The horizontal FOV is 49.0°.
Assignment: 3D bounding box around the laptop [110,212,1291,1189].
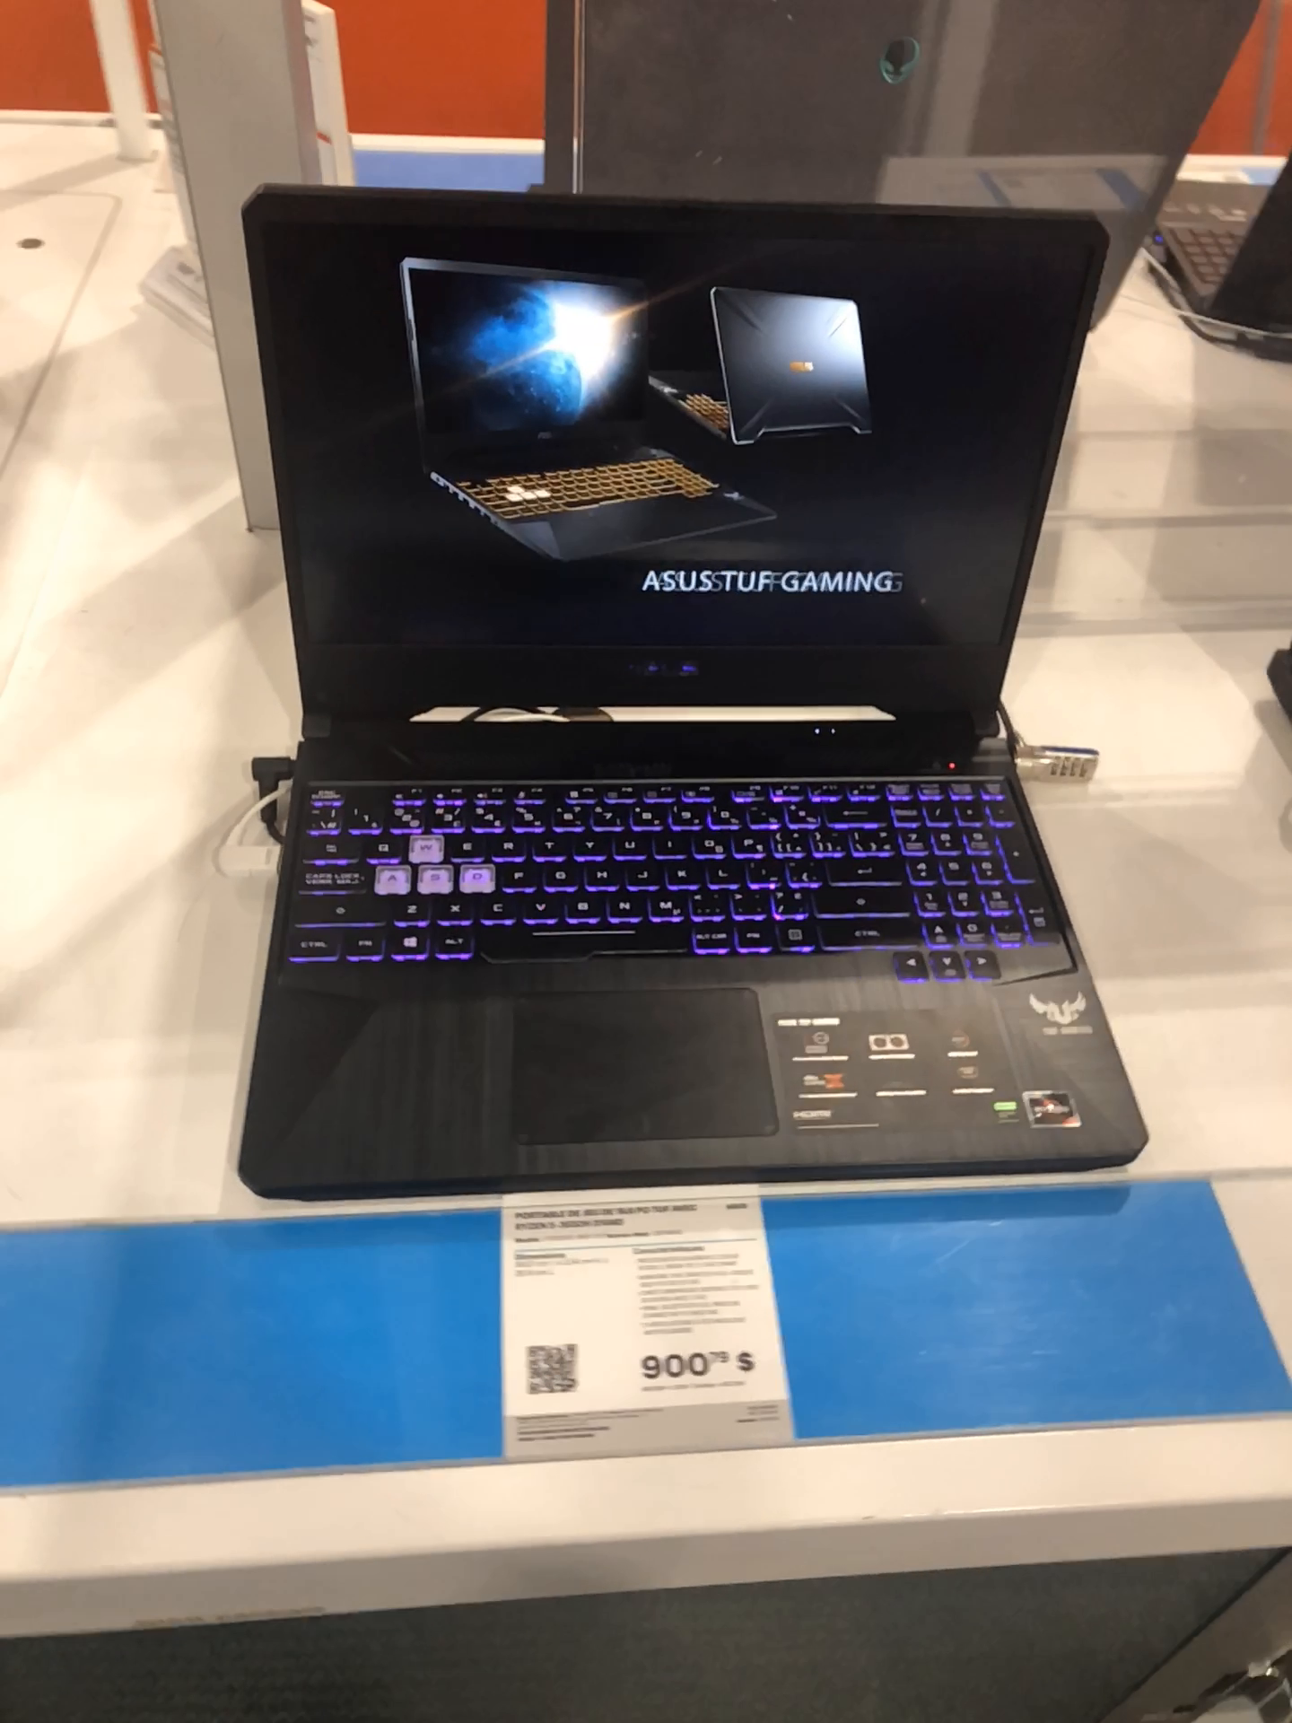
[{"bbox_3d":[0.022,-0.074,0.572,0.350,0.235,0.302,-1,47,-5],"label":"laptop"}]
